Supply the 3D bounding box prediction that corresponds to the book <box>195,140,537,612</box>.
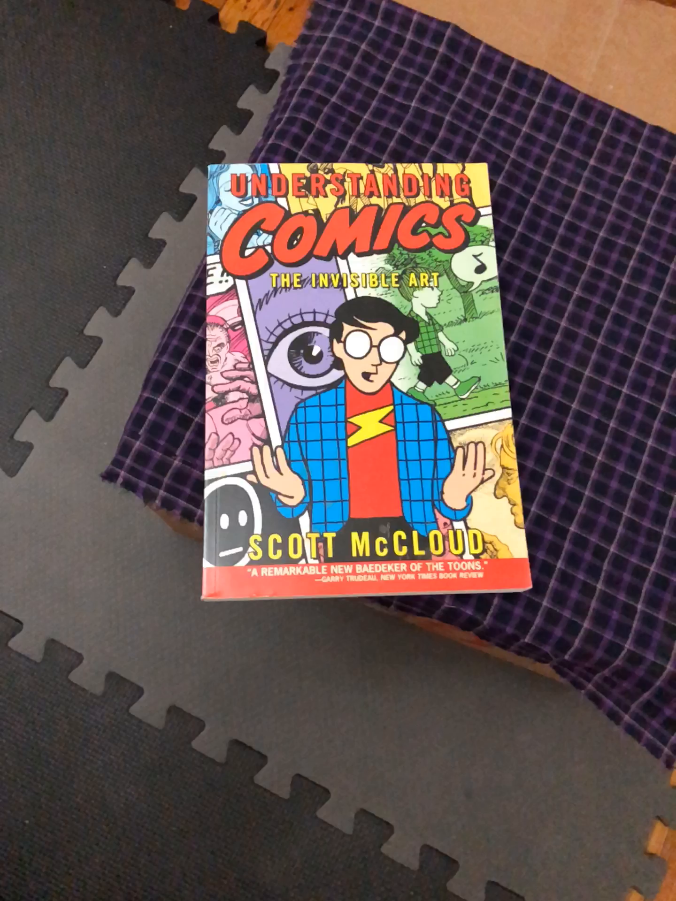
[{"bbox_3d":[0.010,-0.051,0.415,0.170,0.020,0.270,-1,74,-4],"label":"book"}]
